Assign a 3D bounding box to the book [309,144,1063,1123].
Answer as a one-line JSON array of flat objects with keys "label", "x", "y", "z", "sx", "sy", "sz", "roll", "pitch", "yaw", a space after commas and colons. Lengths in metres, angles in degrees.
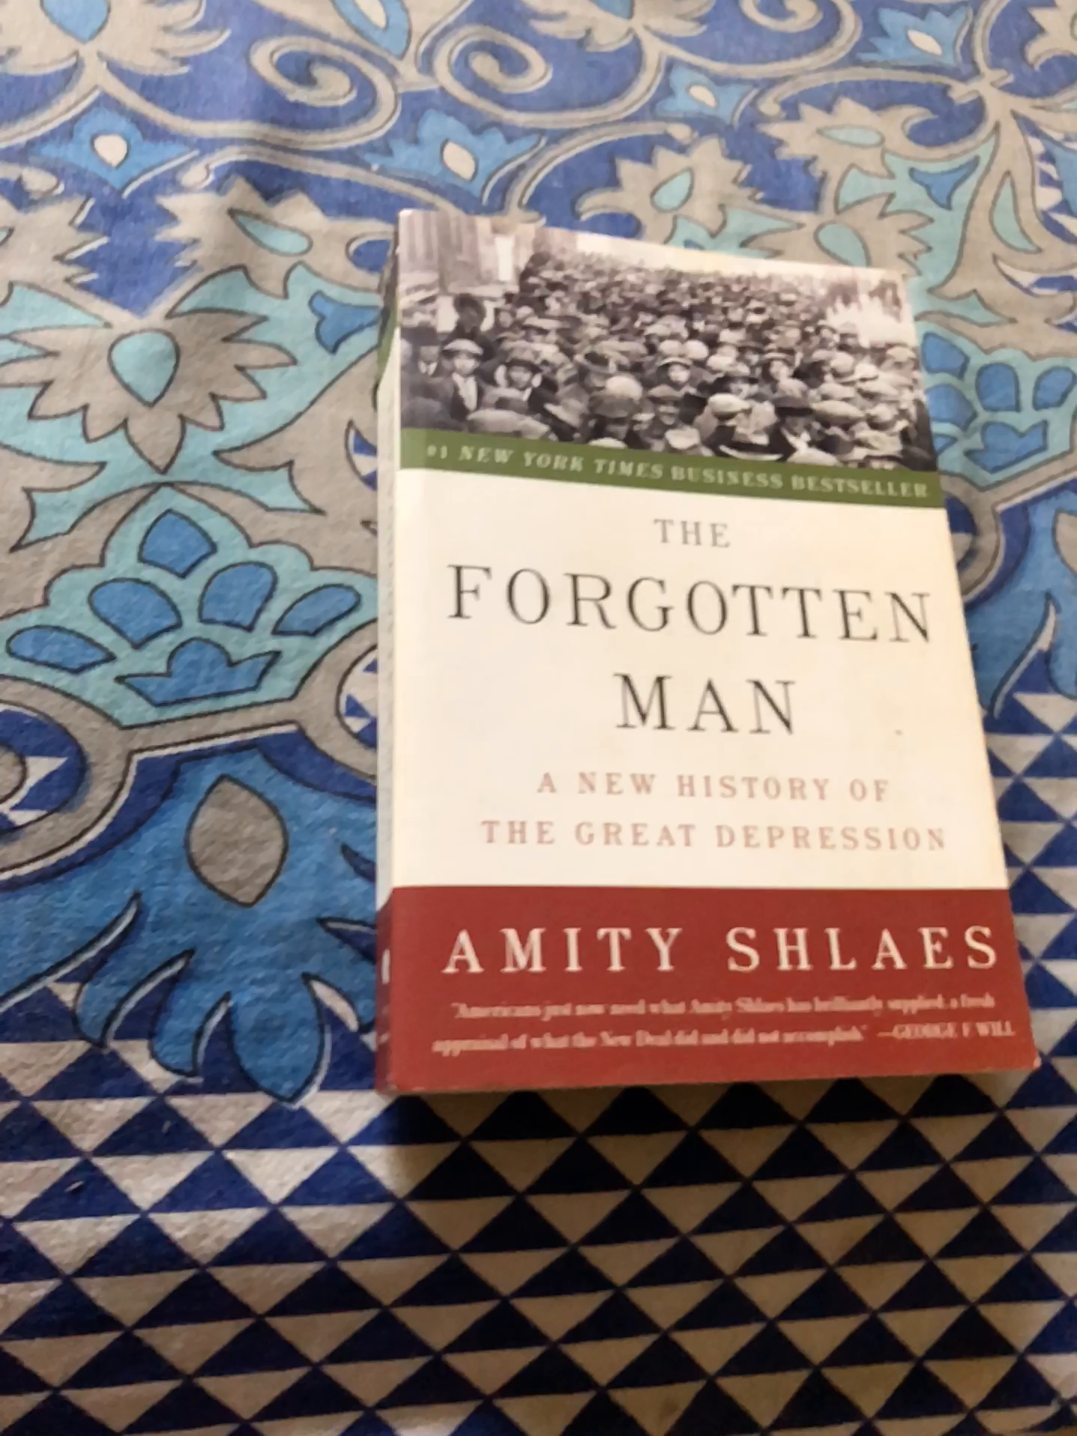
[{"label": "book", "x": 0.022, "y": -0.020, "z": 0.270, "sx": 0.140, "sy": 0.050, "sz": 0.200, "roll": 1, "pitch": 72, "yaw": -14}]
